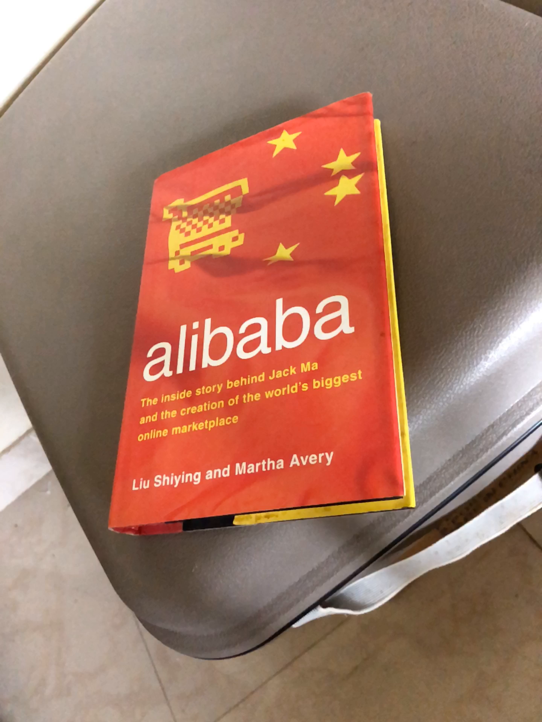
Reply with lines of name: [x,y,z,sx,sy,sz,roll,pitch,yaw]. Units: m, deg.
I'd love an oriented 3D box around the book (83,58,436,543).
book: [-0.009,-0.041,0.338,0.160,0.040,0.260,-11,60,21]
